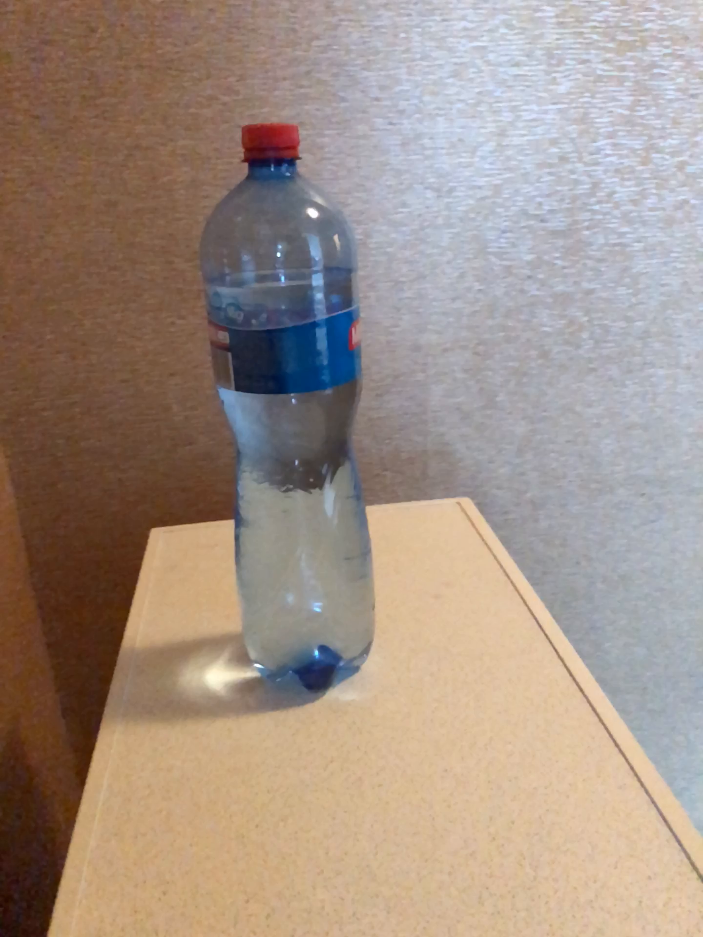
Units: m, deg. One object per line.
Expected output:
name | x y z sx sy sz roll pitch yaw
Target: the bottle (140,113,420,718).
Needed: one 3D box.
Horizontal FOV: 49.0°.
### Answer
bottle | -0.034 -0.031 0.458 0.100 0.318 0.100 -3 20 1
